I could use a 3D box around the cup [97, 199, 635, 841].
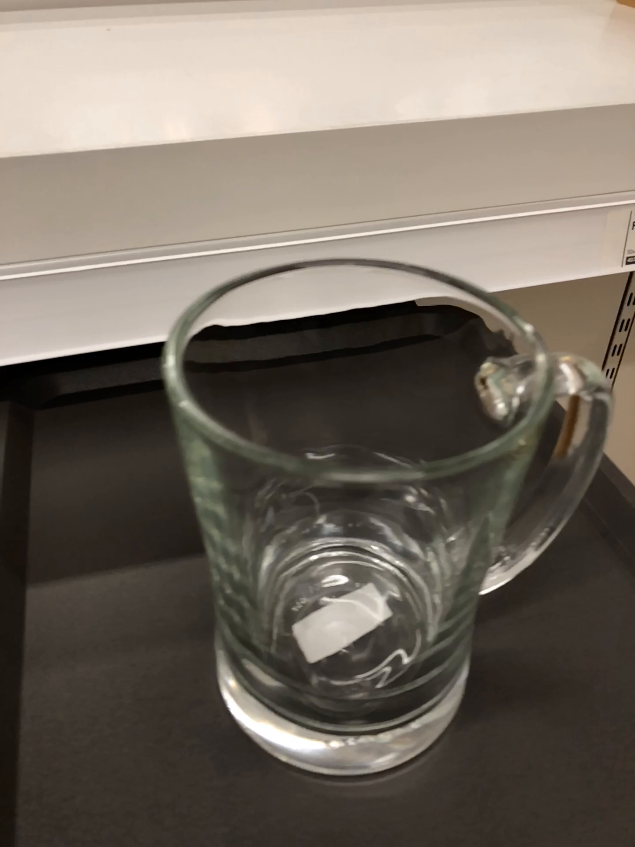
[{"bbox_3d":[0.031,0.020,0.230,0.160,0.130,0.110,-15,41,-19],"label":"cup"}]
